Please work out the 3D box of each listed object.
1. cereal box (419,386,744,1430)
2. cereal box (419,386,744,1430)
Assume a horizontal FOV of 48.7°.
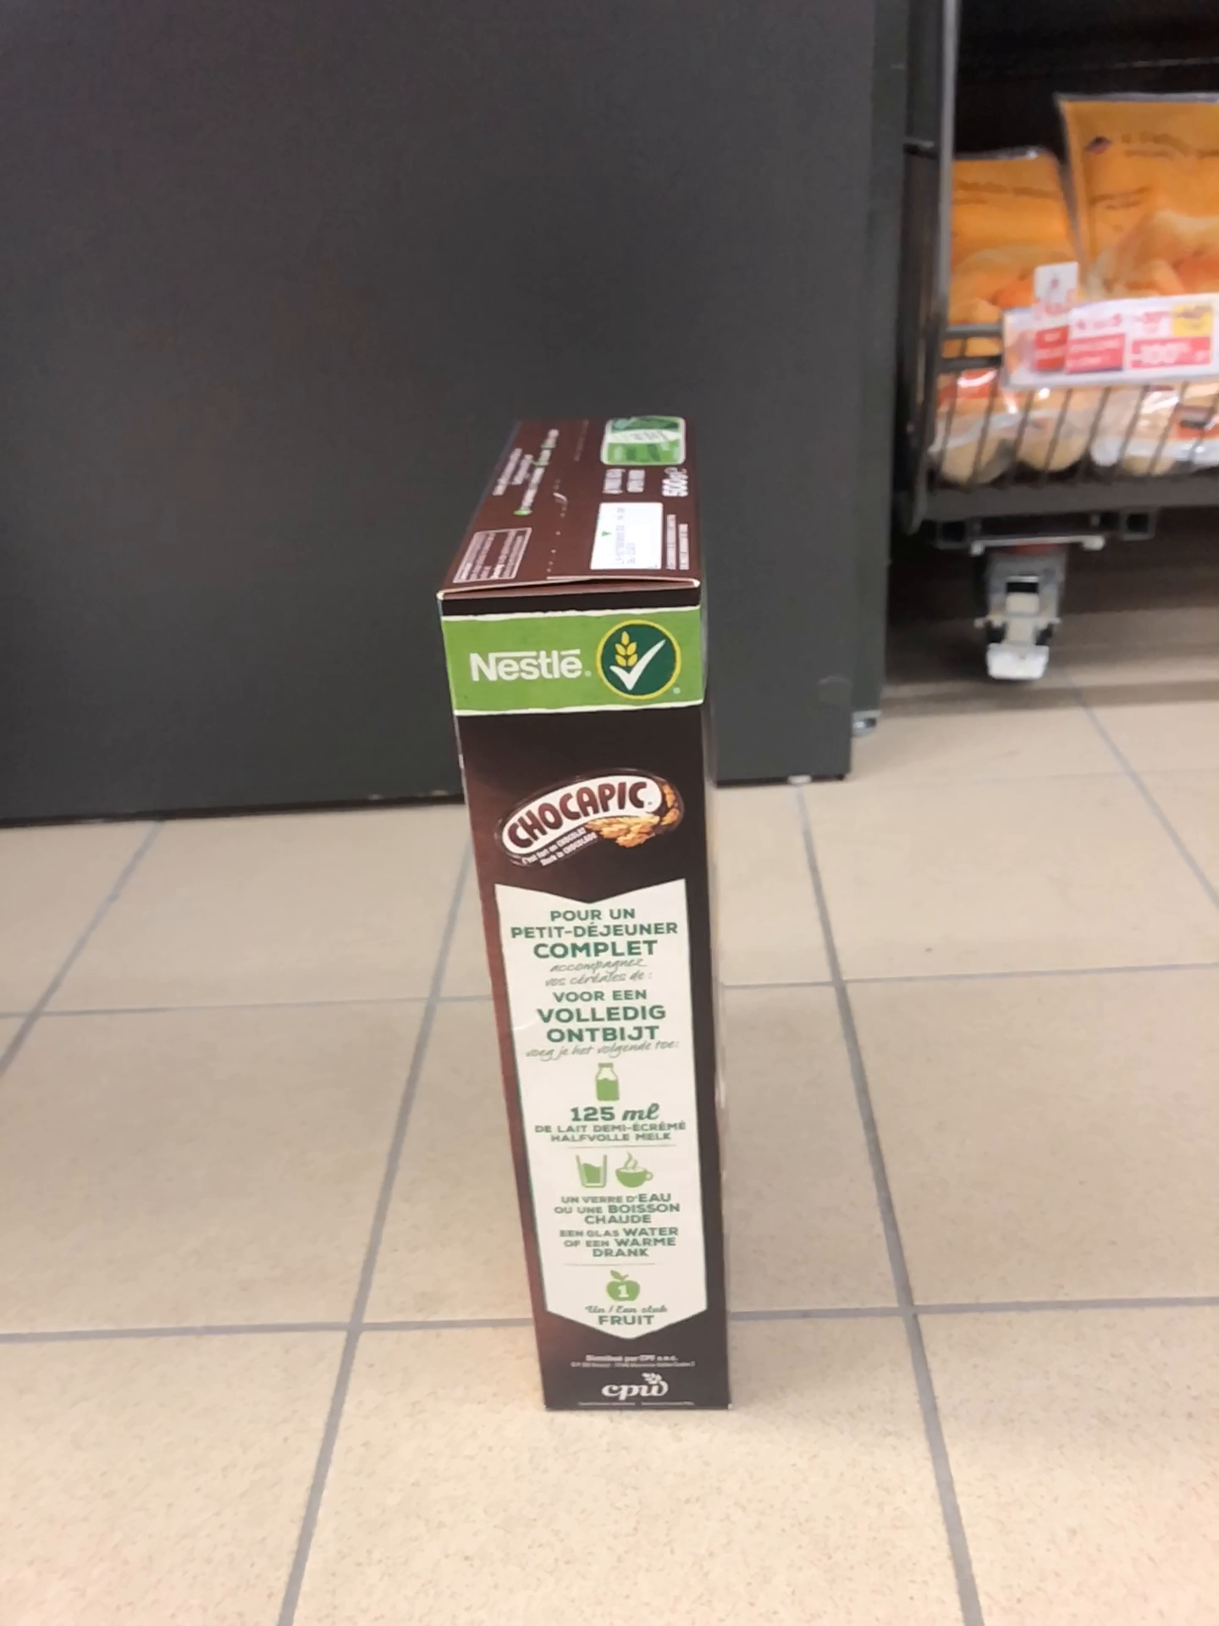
[{"bbox_3d":[0.004,0.023,0.458,0.070,0.288,0.201,-2,27,3],"label":"cereal box"},{"bbox_3d":[0.004,0.023,0.458,0.070,0.288,0.201,-2,27,3],"label":"cereal box"}]
